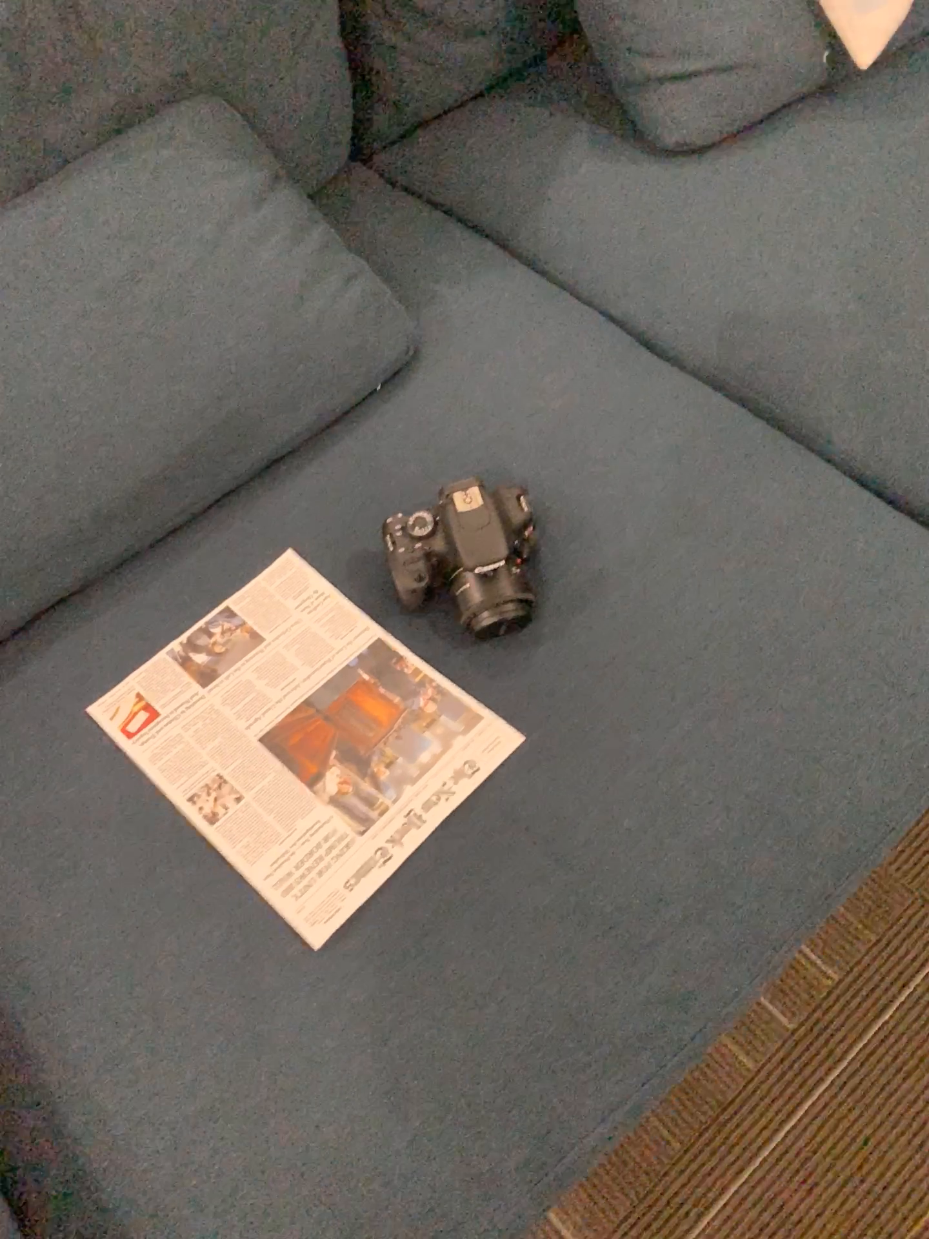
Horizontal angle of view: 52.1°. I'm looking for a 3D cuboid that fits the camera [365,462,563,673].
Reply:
[{"bbox_3d":[0.000,-0.038,0.747,0.120,0.100,0.109,-17,73,-3],"label":"camera"}]
